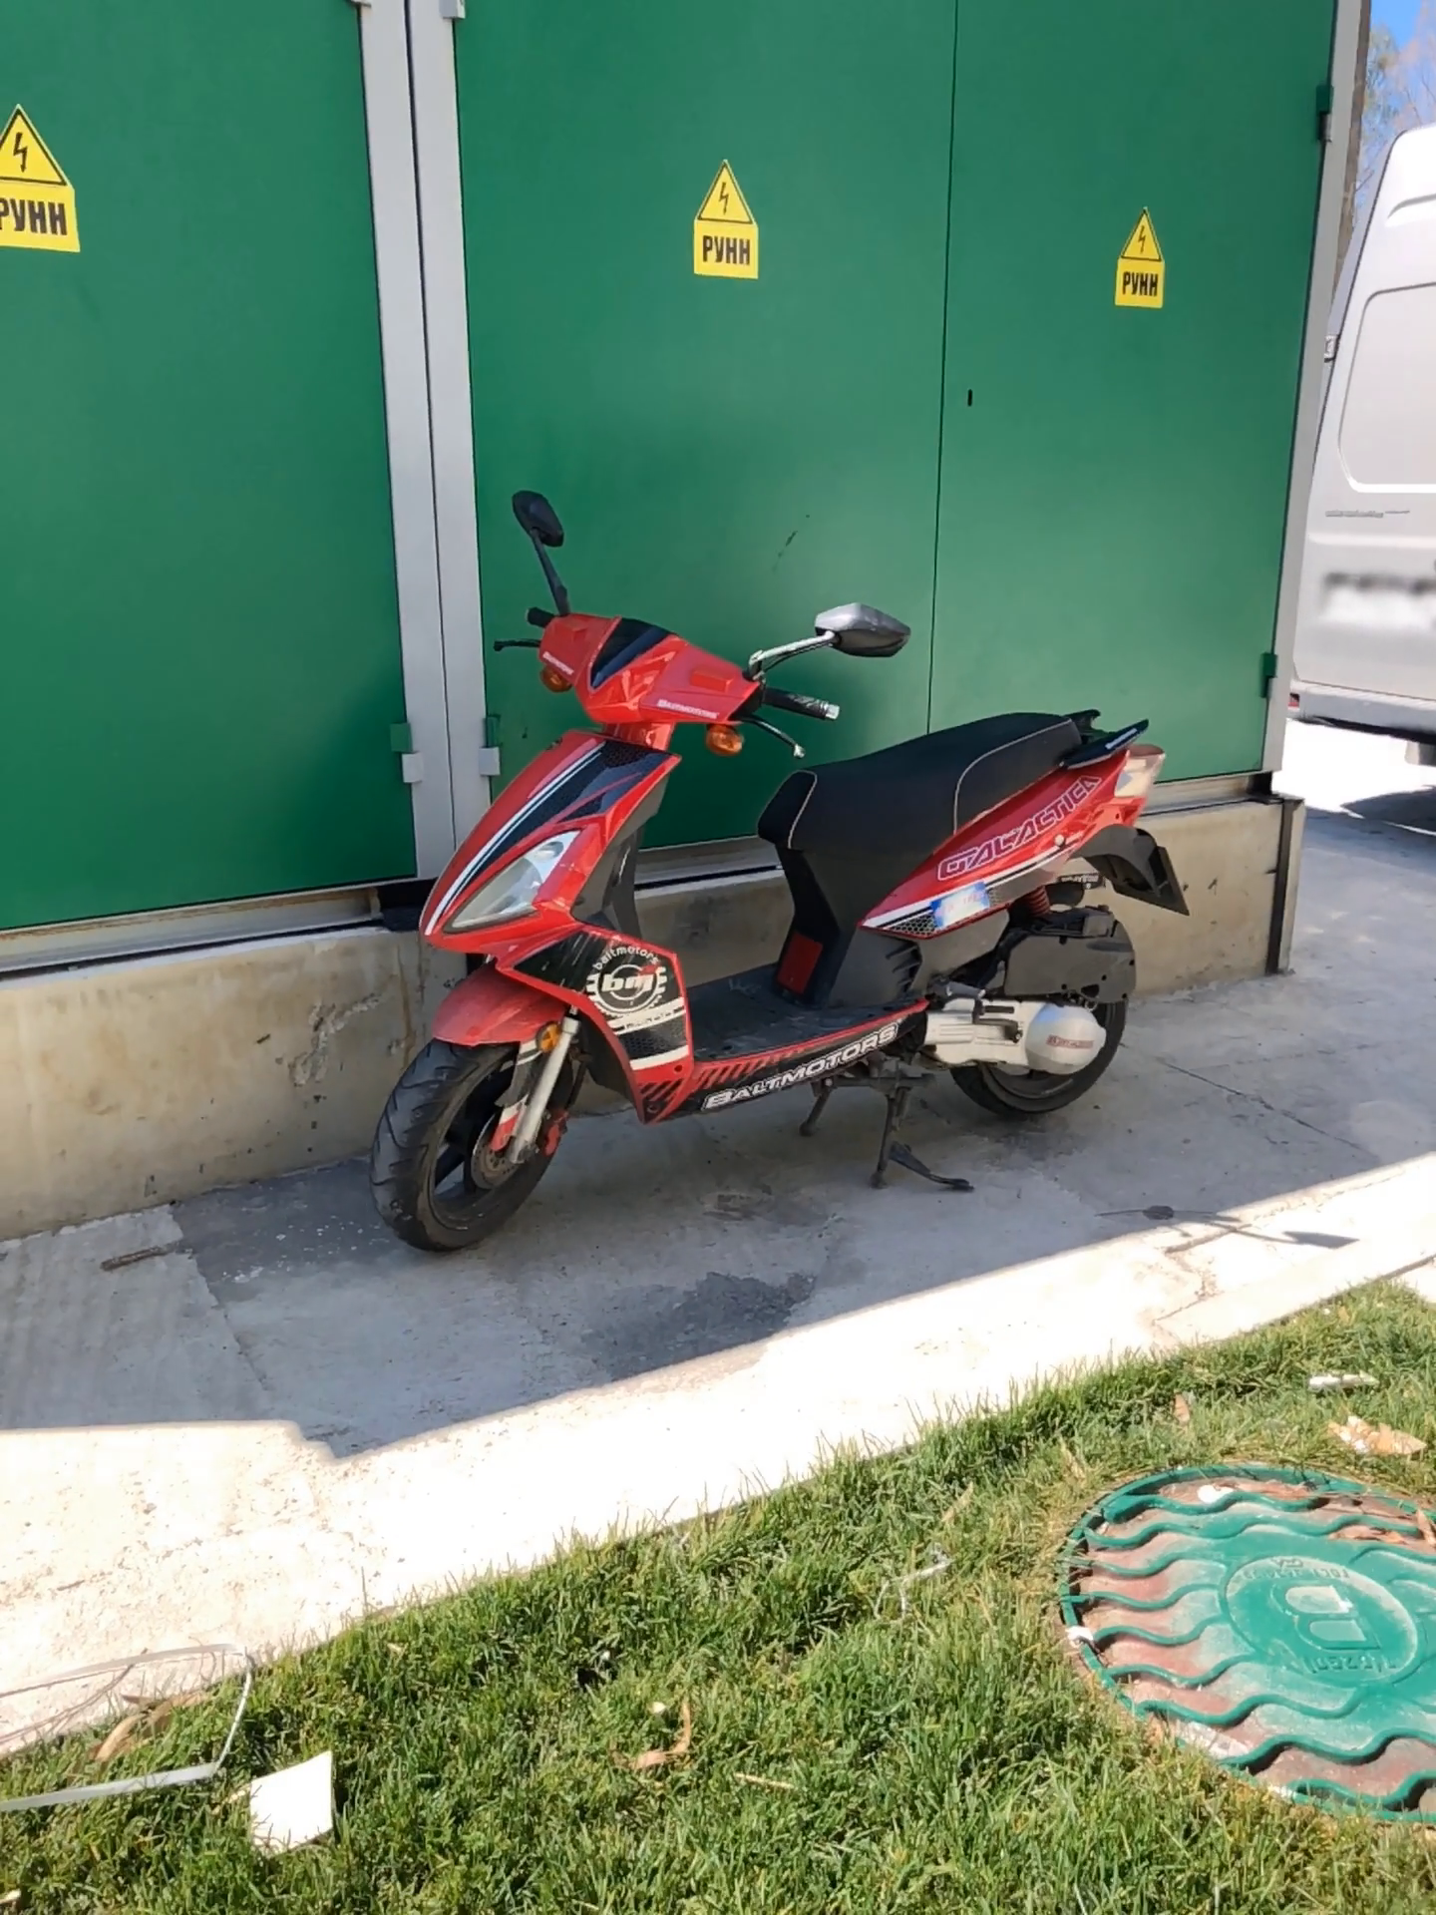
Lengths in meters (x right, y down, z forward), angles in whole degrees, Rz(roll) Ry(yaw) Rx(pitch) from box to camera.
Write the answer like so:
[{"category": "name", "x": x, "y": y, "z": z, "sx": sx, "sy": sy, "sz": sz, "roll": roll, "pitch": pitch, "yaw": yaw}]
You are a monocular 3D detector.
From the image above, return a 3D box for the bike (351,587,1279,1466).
[{"category": "bike", "x": 0.198, "y": -0.024, "z": 2.719, "sx": 1.592, "sy": 1.087, "sz": 0.590, "roll": -10, "pitch": 19, "yaw": -27}]
